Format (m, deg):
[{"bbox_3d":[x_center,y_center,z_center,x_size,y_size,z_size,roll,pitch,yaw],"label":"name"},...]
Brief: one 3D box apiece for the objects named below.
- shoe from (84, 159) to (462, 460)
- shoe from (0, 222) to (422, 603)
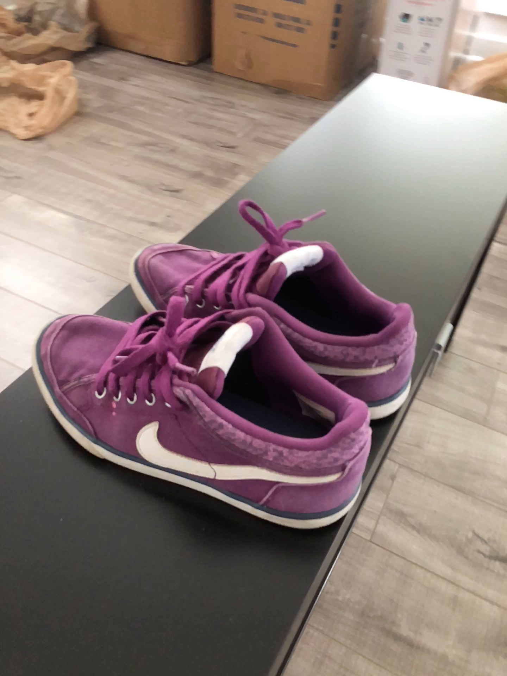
[{"bbox_3d":[0.007,-0.032,0.412,0.240,0.100,0.100,26,50,21],"label":"shoe"},{"bbox_3d":[-0.042,0.034,0.352,0.251,0.100,0.100,26,50,21],"label":"shoe"}]
